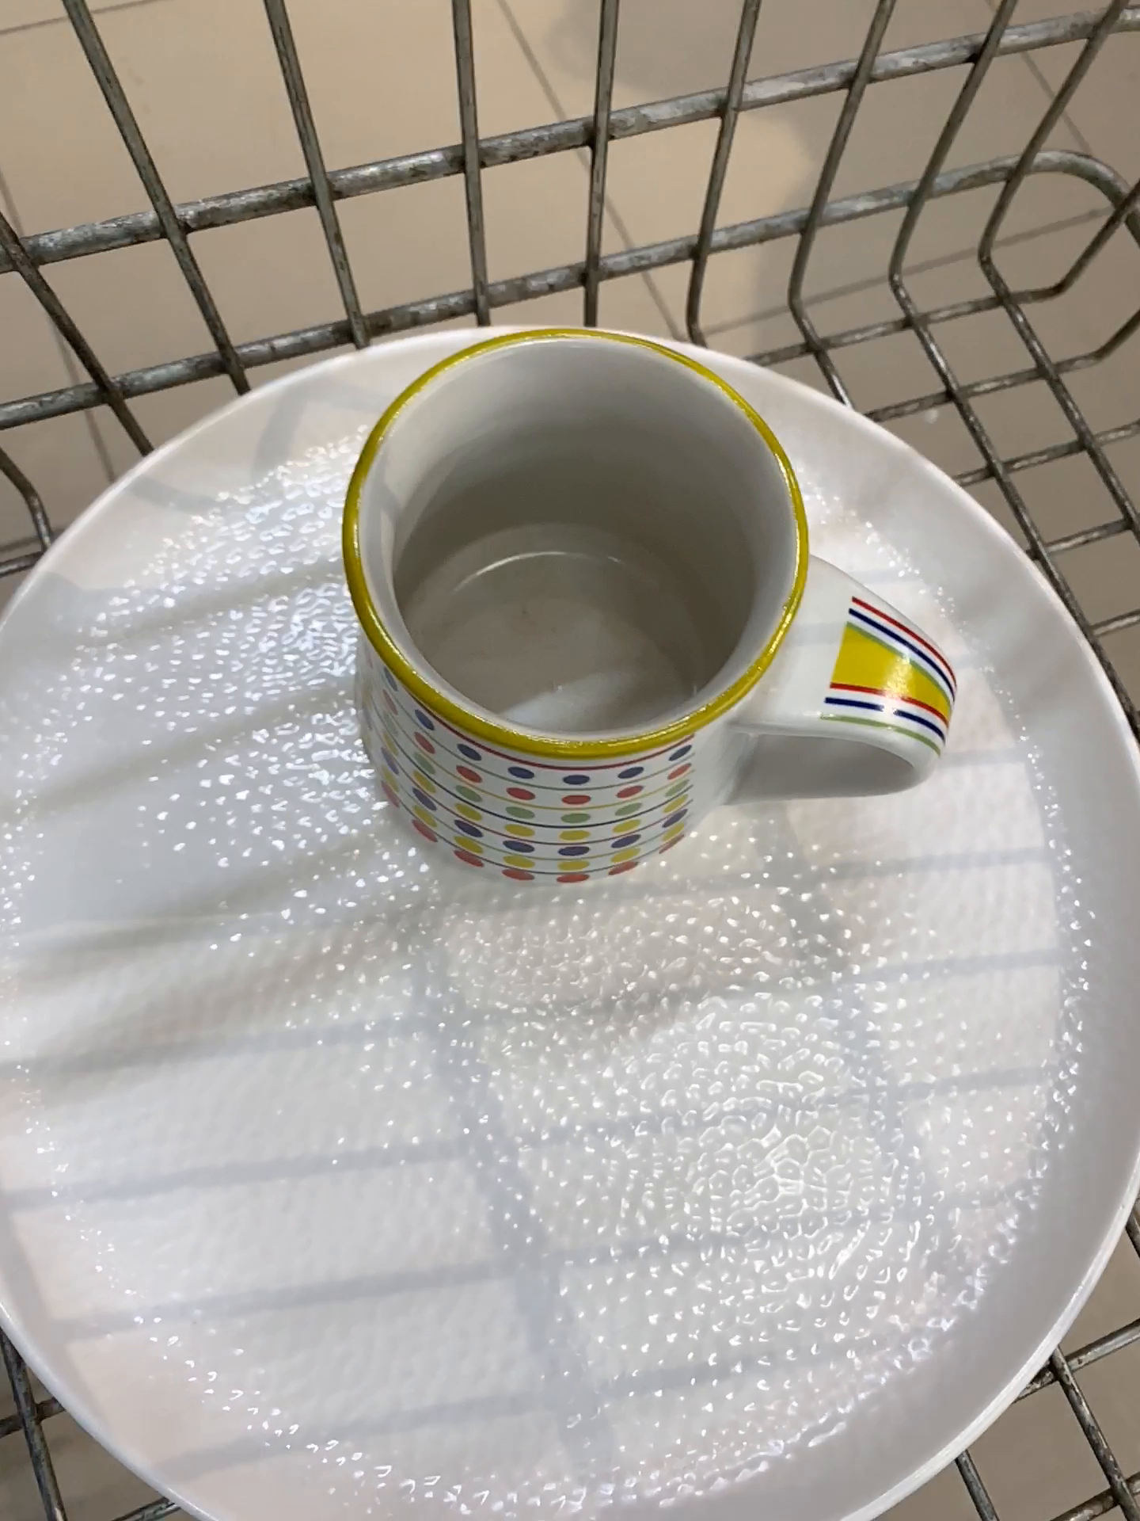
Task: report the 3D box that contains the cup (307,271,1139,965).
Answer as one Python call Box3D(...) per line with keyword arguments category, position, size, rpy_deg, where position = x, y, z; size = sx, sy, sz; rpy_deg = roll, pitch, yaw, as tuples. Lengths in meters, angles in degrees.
Box3D(category="cup", position=(0.023, -0.012, 0.206), size=(0.120, 0.100, 0.080), rpy_deg=(2, 73, -6))
